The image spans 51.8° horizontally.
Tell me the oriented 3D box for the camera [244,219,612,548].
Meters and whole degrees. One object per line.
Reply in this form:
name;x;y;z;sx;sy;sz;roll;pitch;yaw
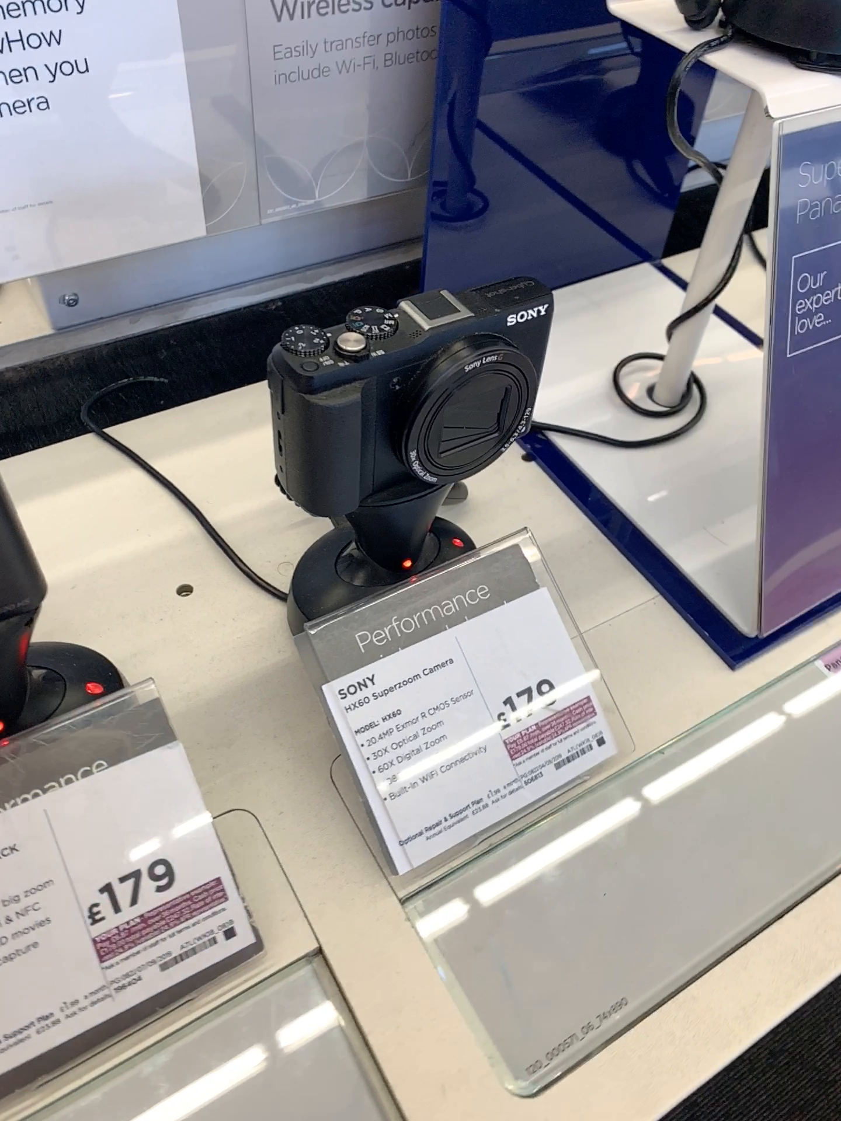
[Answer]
camera;0.002;-0.061;0.293;0.110;0.069;0.040;-25;56;-24
